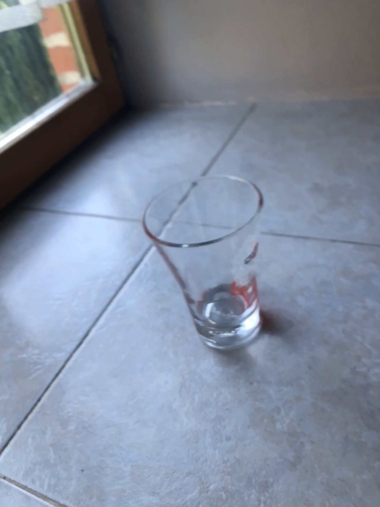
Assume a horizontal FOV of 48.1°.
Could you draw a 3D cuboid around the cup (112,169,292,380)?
[{"bbox_3d":[0.018,0.013,0.341,0.092,0.116,0.096,-8,40,6],"label":"cup"}]
